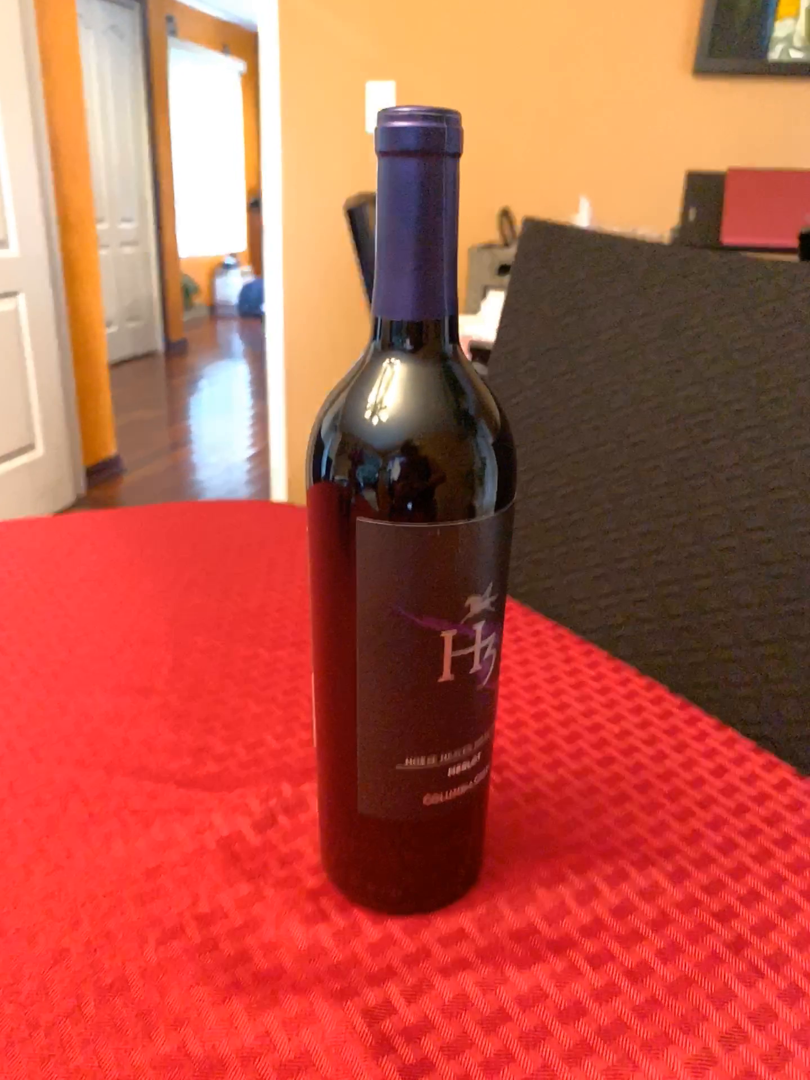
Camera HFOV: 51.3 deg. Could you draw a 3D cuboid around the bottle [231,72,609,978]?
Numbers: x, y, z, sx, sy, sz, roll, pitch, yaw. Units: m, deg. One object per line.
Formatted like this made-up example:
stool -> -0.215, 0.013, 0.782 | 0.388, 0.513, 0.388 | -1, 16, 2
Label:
bottle -> -0.001, 0.003, 0.304 | 0.080, 0.289, 0.080 | 2, 21, -1
